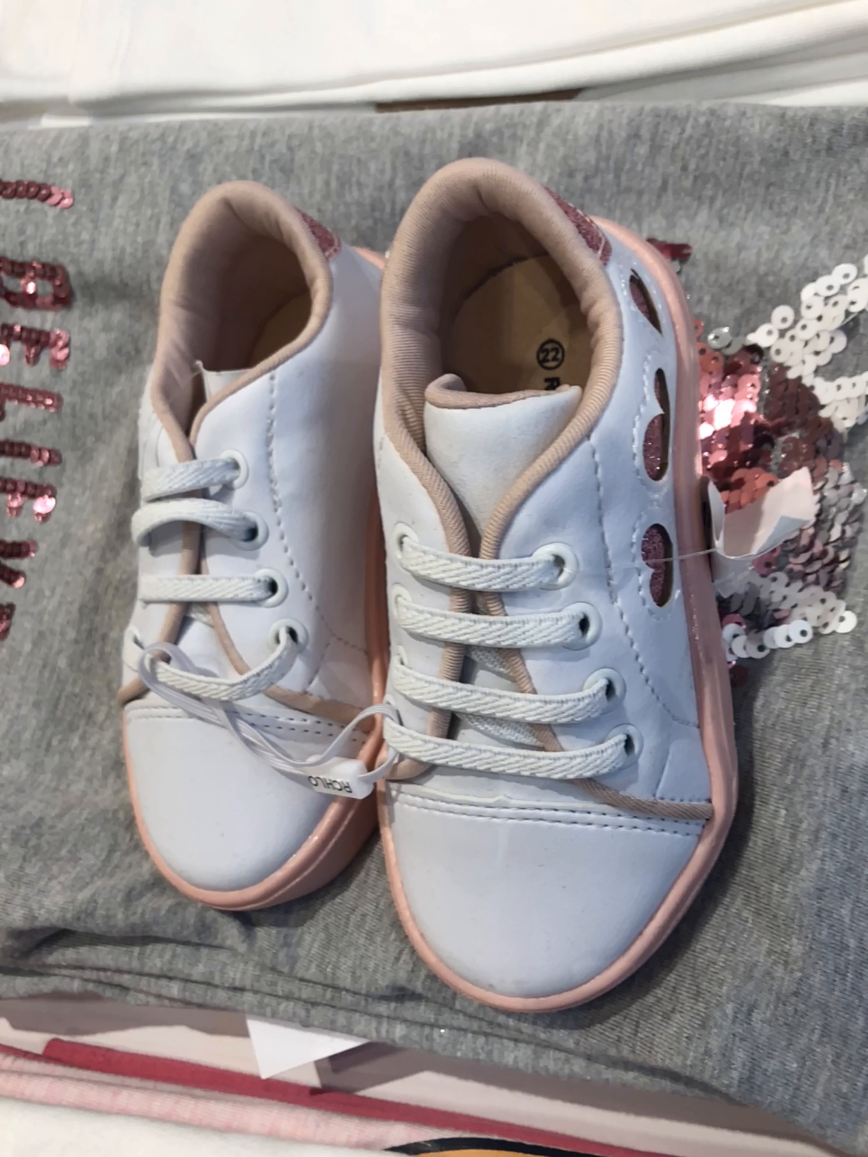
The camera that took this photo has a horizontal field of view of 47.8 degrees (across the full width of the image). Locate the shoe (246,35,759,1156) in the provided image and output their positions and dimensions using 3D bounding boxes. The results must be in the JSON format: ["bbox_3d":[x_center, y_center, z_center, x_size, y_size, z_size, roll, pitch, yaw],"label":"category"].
[{"bbox_3d":[0.018,0.002,0.172,0.070,0.070,0.150,0,84,15],"label":"shoe"}]

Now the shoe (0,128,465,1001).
[{"bbox_3d":[-0.043,-0.005,0.211,0.070,0.070,0.150,6,89,16],"label":"shoe"}]
